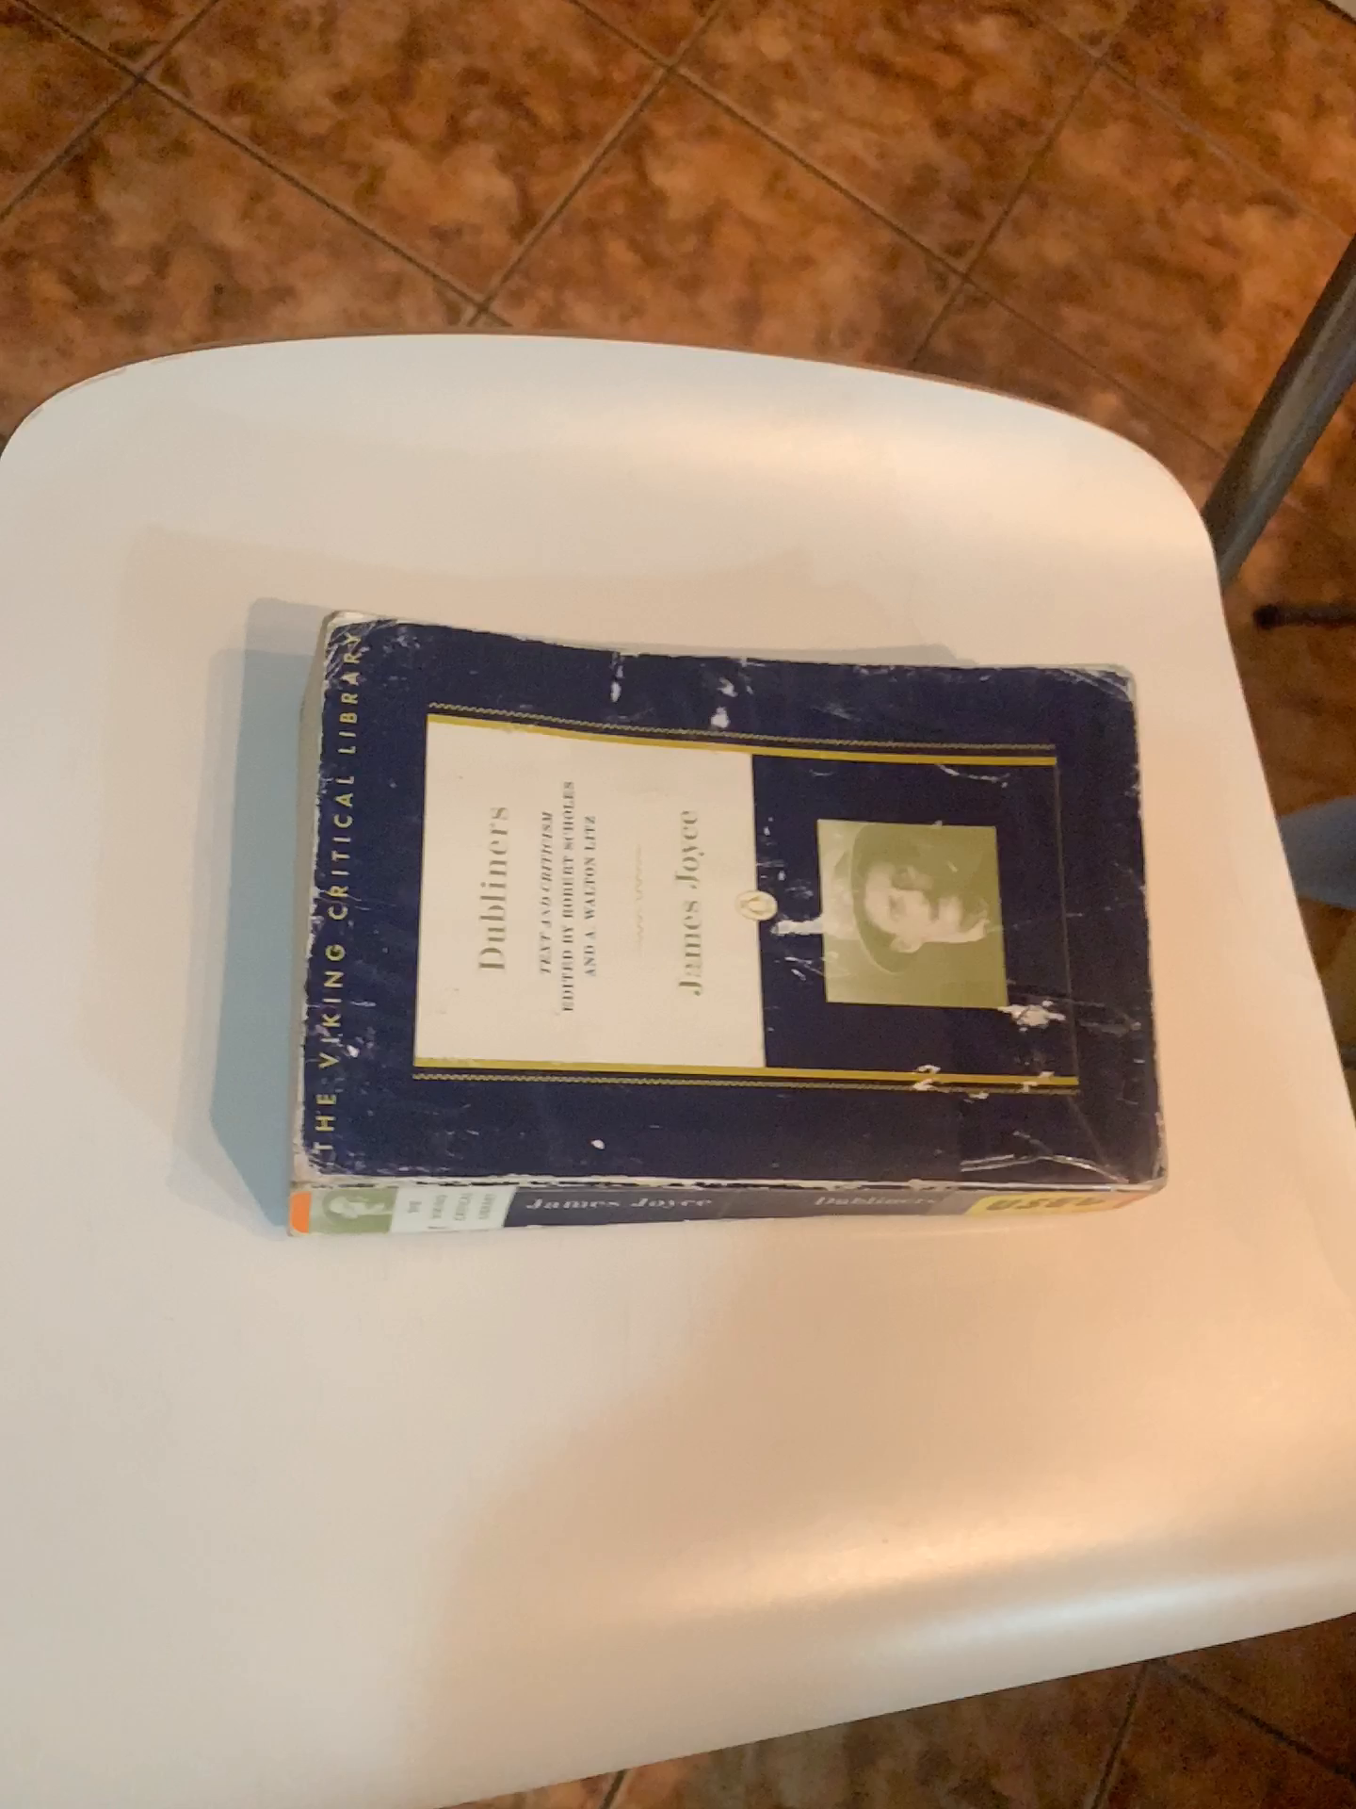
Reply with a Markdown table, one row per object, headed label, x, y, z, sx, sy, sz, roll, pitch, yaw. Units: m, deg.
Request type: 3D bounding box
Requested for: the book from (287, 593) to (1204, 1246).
| label | x | y | z | sx | sy | sz | roll | pitch | yaw |
| --- | --- | --- | --- | --- | --- | --- | --- | --- | --- |
| book | 0.015 | 0.006 | 0.318 | 0.197 | 0.035 | 0.132 | 2 | 75 | -15 |
